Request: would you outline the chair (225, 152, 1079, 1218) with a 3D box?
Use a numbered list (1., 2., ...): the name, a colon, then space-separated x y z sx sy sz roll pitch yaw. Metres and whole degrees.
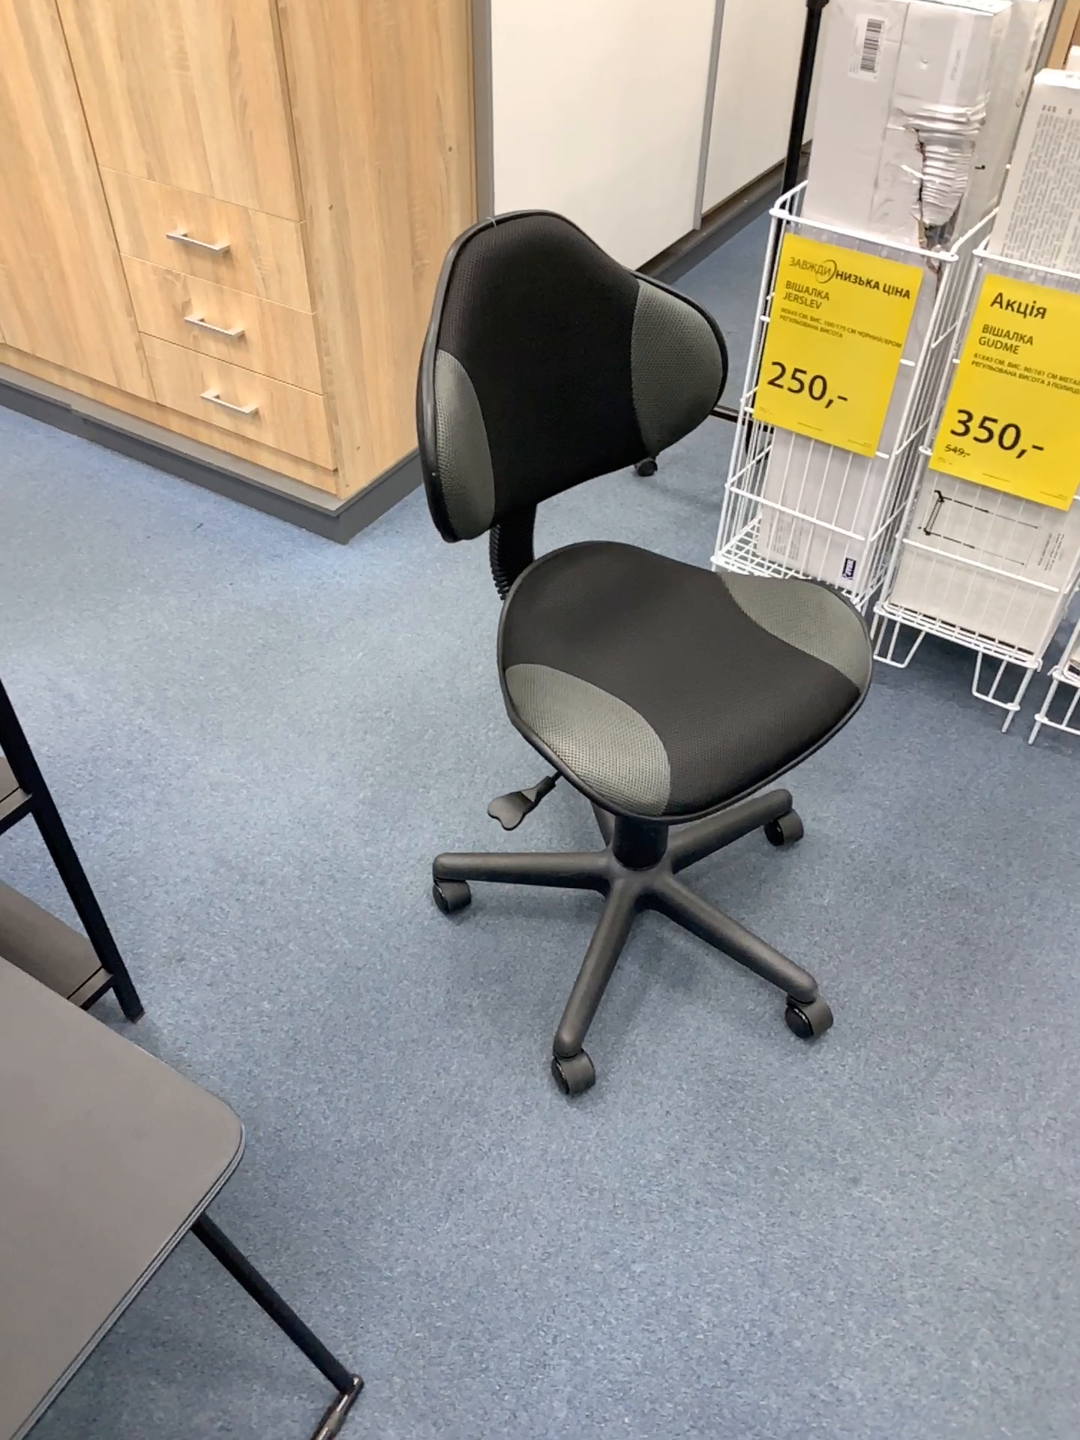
1. chair: 0.148 -0.052 1.348 0.631 0.916 0.692 -29 52 -28
